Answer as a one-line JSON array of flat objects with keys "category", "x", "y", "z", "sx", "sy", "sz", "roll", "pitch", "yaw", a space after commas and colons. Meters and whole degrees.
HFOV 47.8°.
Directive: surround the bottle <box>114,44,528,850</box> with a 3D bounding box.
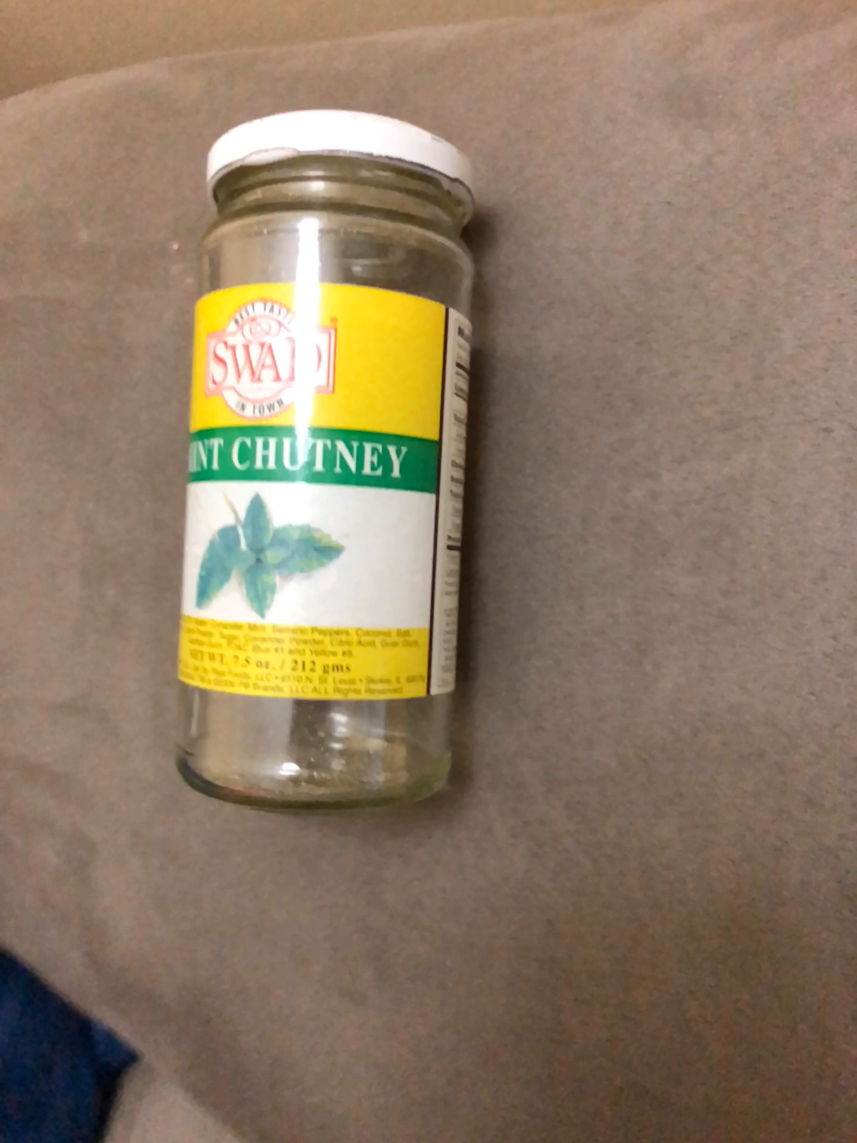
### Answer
[{"category": "bottle", "x": -0.020, "y": -0.021, "z": 0.198, "sx": 0.057, "sy": 0.056, "sz": 0.133, "roll": 3, "pitch": 91, "yaw": 29}]
